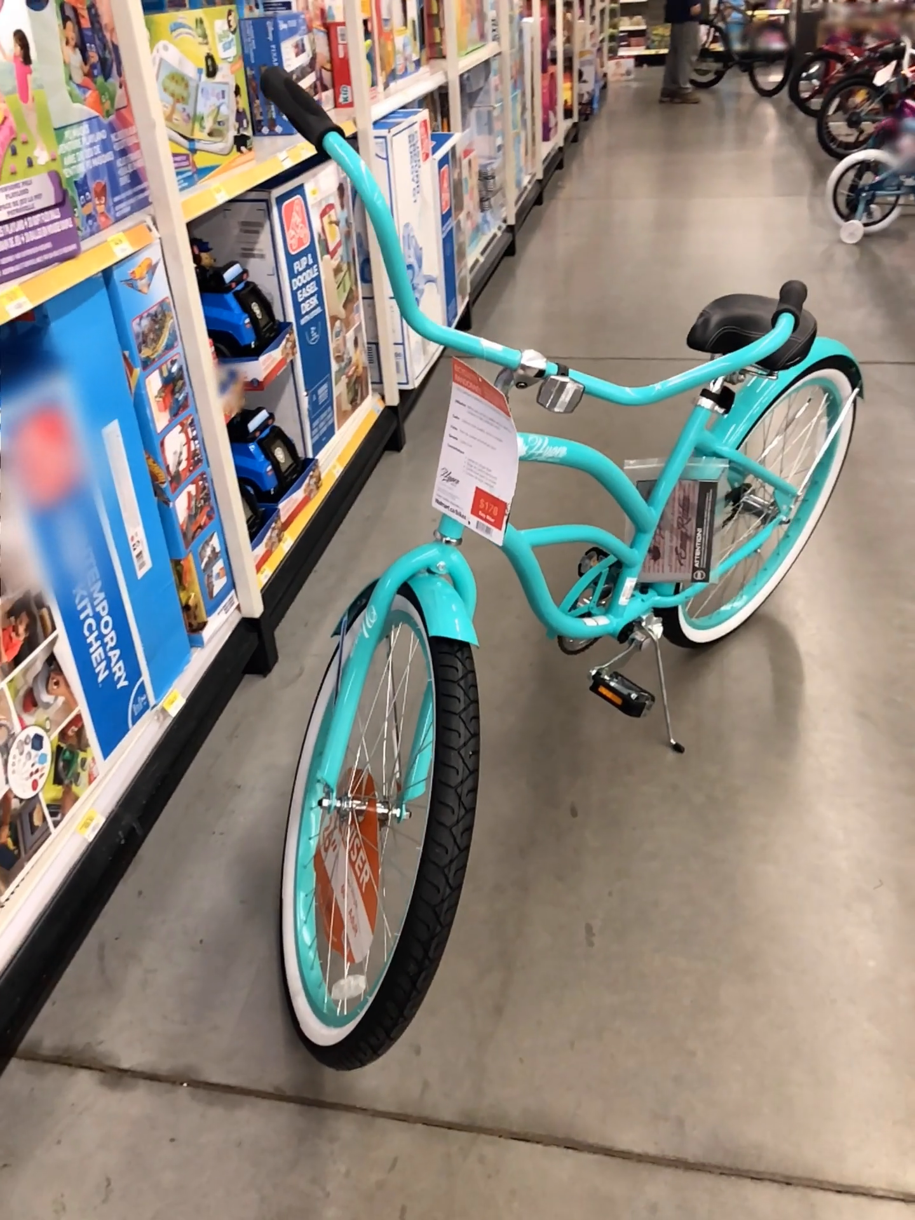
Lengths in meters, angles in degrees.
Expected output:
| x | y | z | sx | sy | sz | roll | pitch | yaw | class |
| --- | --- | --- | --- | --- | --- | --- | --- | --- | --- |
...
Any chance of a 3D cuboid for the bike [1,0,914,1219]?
| x | y | z | sx | sy | sz | roll | pitch | yaw | class |
| --- | --- | --- | --- | --- | --- | --- | --- | --- | --- |
| 0.312 | -0.102 | 1.477 | 0.759 | 1.143 | 1.497 | 19 | 43 | 31 | bike |
